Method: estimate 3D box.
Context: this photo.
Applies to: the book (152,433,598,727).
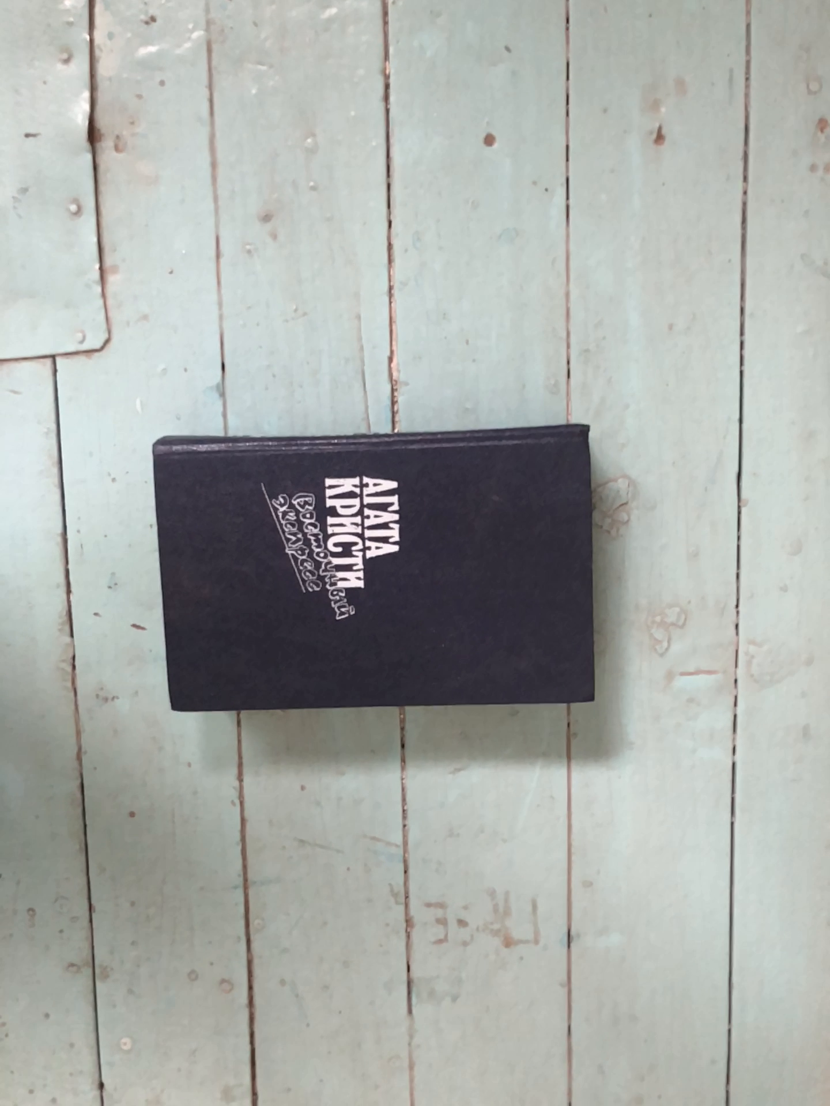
[{"bbox_3d":[-0.018,0.013,0.458,0.210,0.040,0.138,-1,96,2],"label":"book"}]
